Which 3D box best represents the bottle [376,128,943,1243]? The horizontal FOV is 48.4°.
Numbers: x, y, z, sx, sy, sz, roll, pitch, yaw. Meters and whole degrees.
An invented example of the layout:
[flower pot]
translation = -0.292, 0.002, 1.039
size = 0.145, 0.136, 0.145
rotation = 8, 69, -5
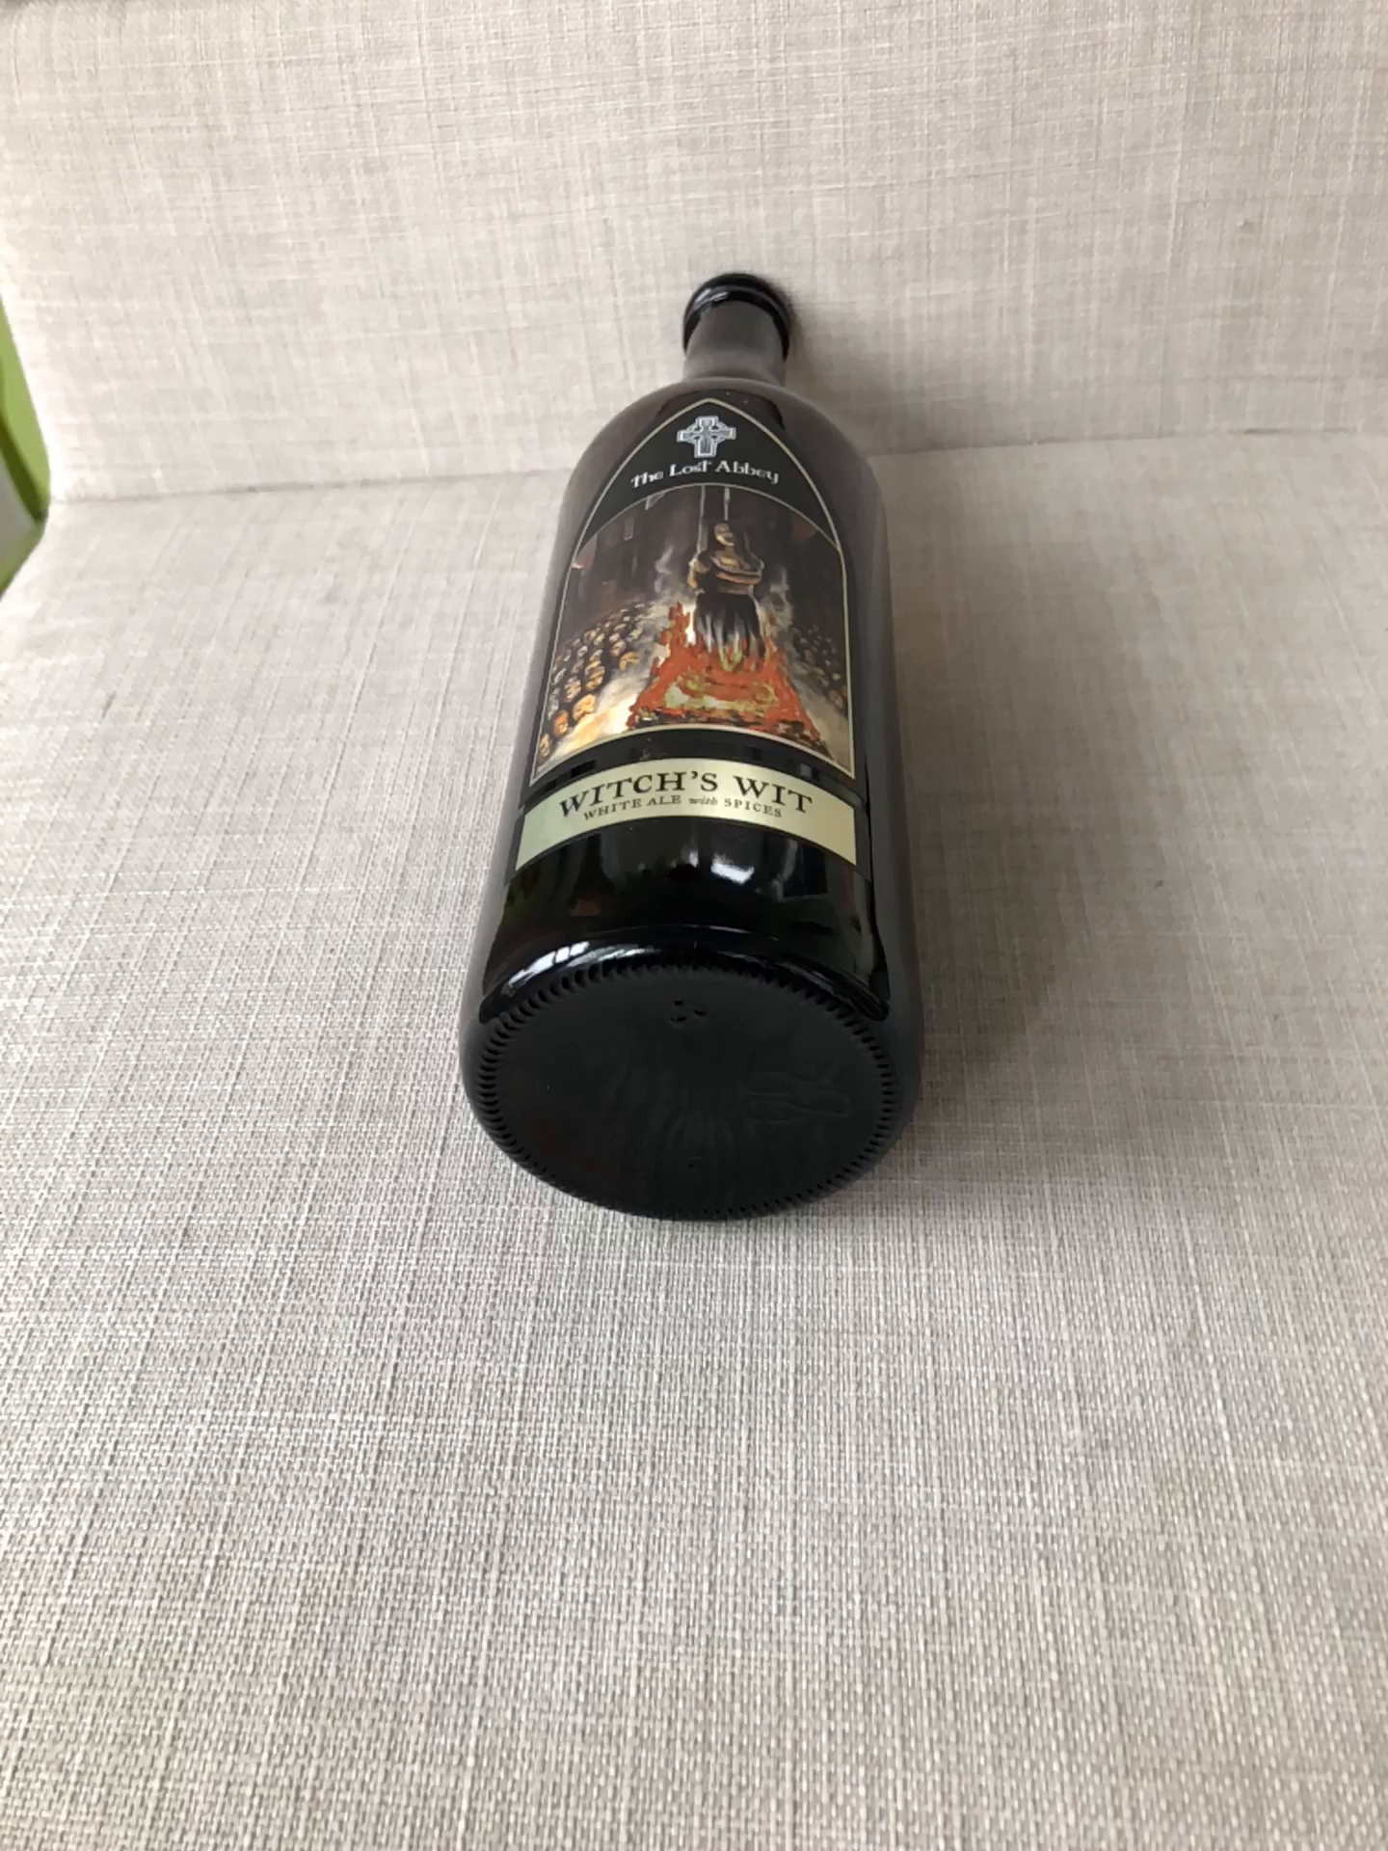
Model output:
[bottle]
translation = 0.004, -0.075, 0.340
size = 0.080, 0.079, 0.283
rotation = -1, 48, 5
